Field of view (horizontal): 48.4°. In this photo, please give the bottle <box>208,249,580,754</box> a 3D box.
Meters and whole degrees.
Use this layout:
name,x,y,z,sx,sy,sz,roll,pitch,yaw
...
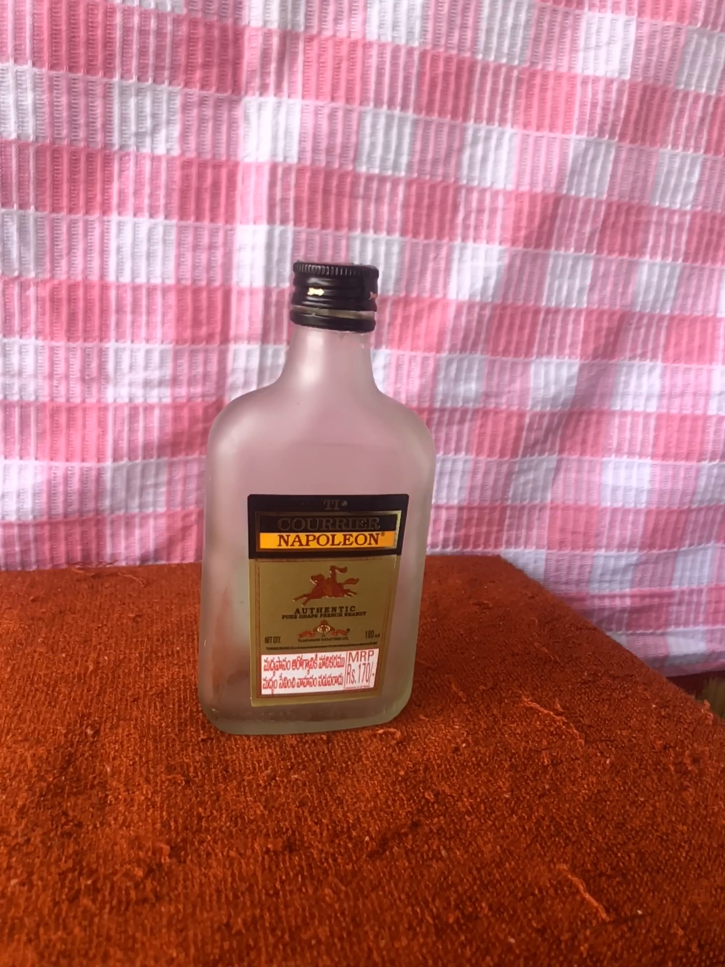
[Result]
name,x,y,z,sx,sy,sz,roll,pitch,yaw
bottle,0.003,0.005,0.235,0.080,0.130,0.050,2,17,-18
